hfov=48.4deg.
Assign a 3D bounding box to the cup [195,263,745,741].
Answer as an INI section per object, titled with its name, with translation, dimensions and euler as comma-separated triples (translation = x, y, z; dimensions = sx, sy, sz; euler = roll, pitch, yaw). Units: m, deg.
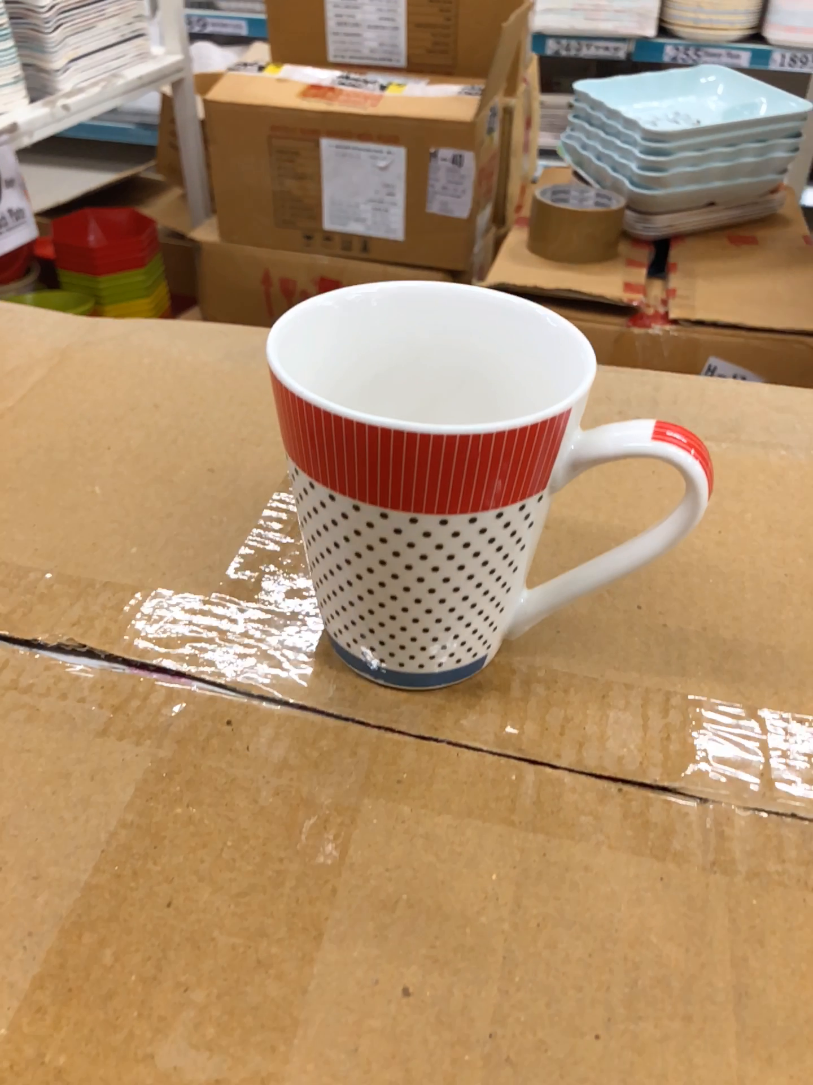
[cup]
translation = 0.019, -0.016, 0.259
dimensions = 0.120, 0.089, 0.091
euler = 6, 37, 7
